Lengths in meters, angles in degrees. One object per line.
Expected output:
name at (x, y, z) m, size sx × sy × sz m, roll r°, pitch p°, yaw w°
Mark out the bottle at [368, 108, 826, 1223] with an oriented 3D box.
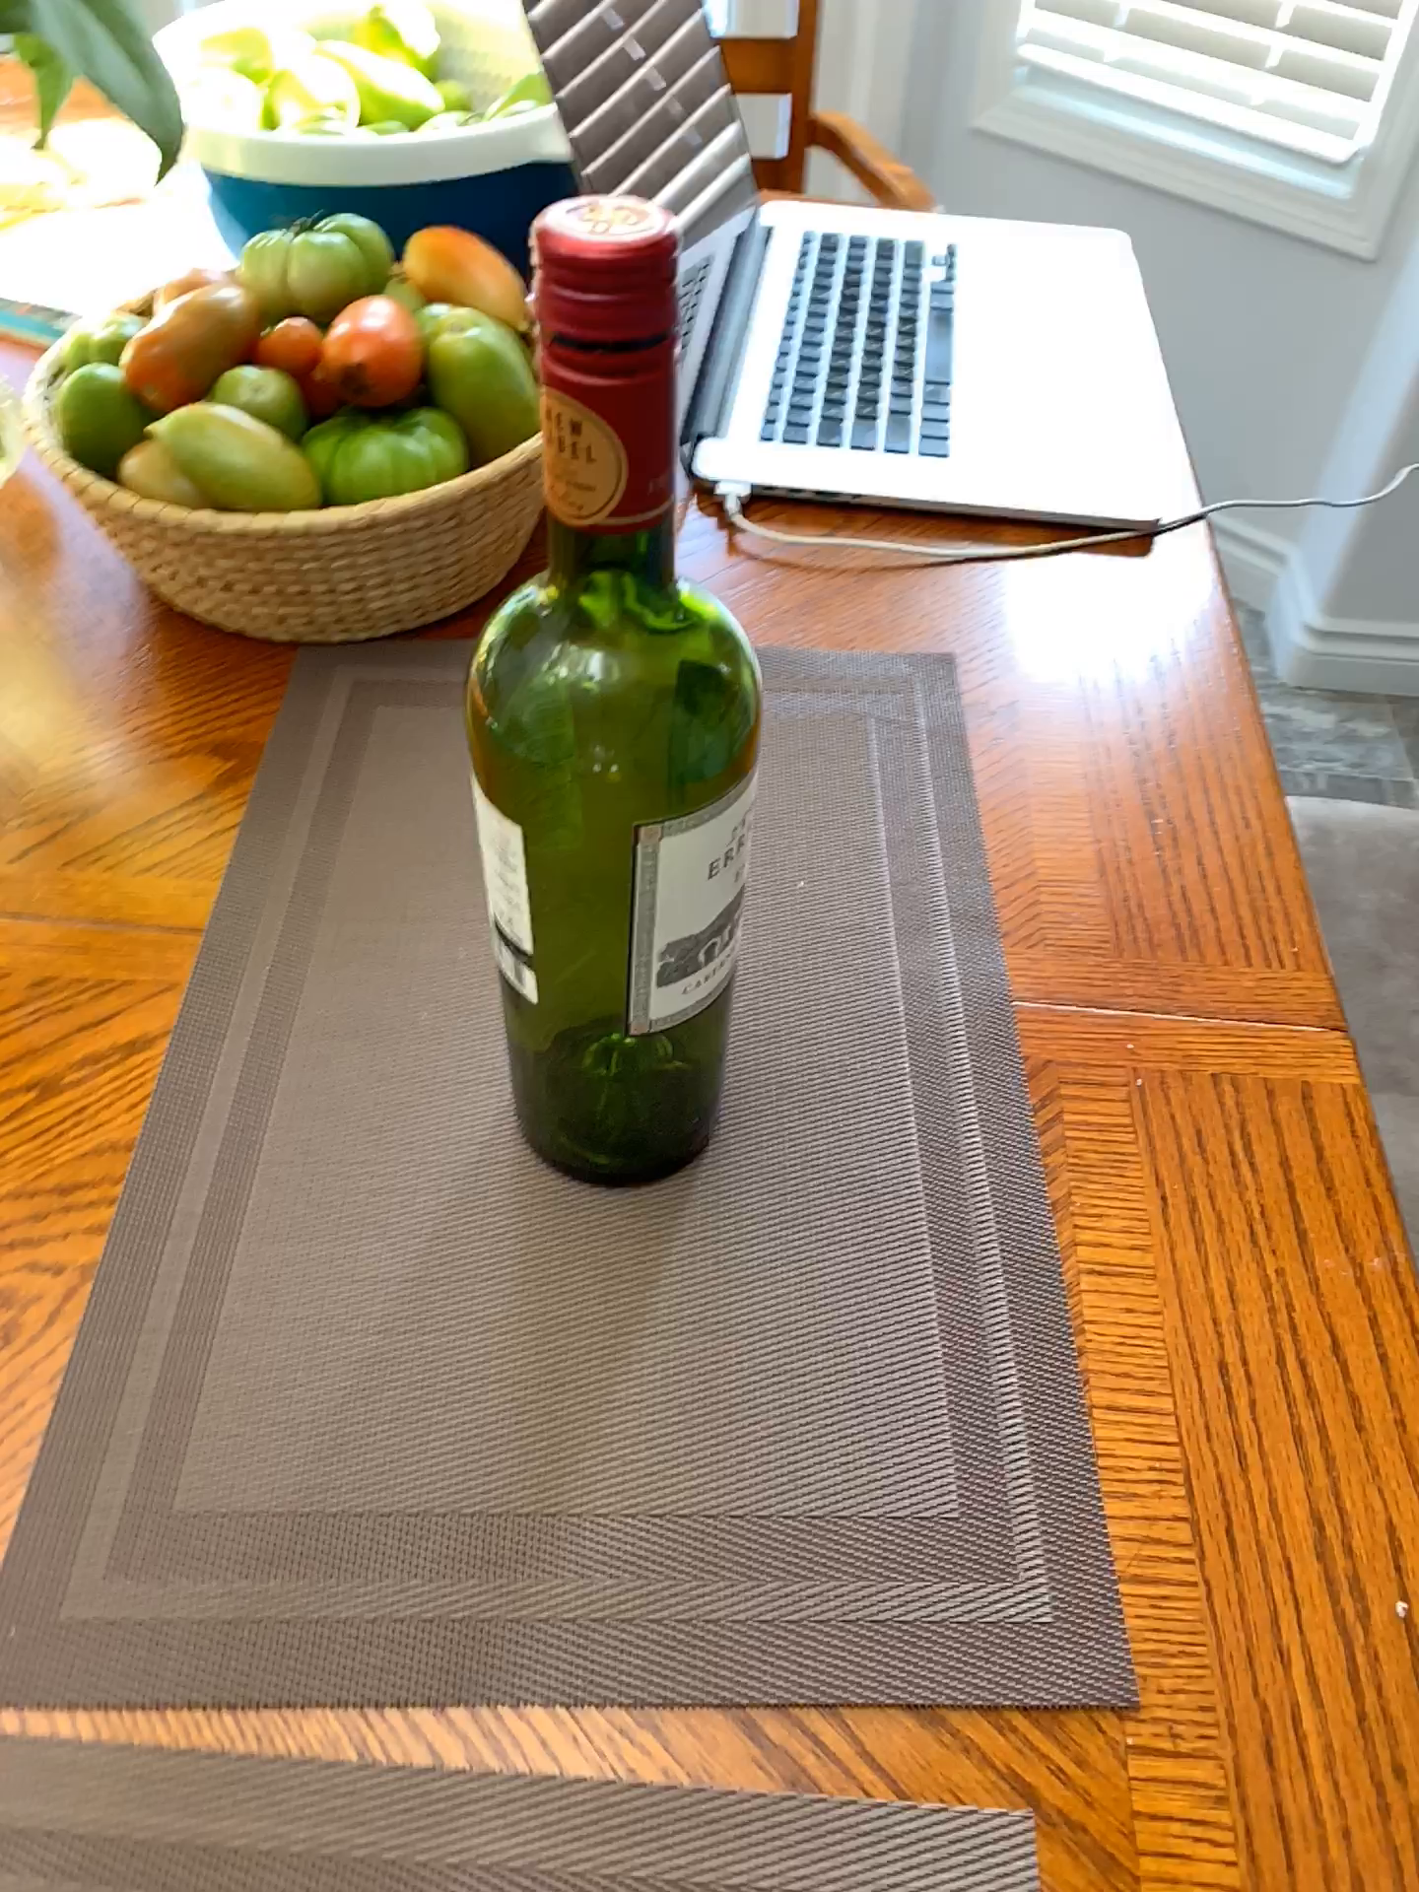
bottle at (-0.025, -0.048, 0.408) m, size 0.080 × 0.307 × 0.091 m, roll 6°, pitch 47°, yaw 2°
